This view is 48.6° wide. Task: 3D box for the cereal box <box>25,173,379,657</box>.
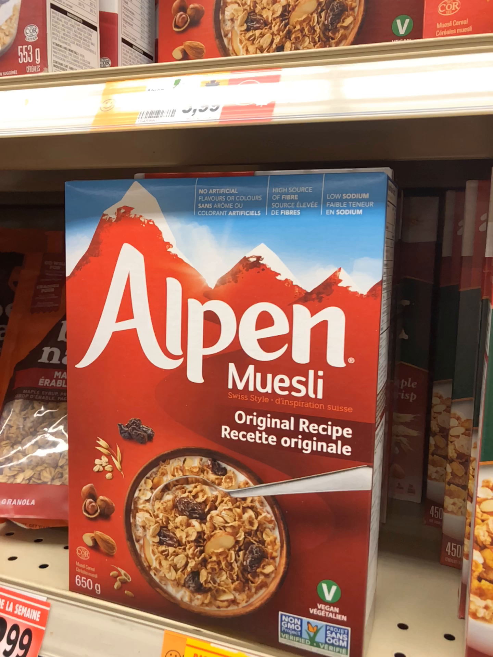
[{"bbox_3d":[-0.027,0.041,0.309,0.180,0.239,0.060,4,8,19],"label":"cereal box"}]
